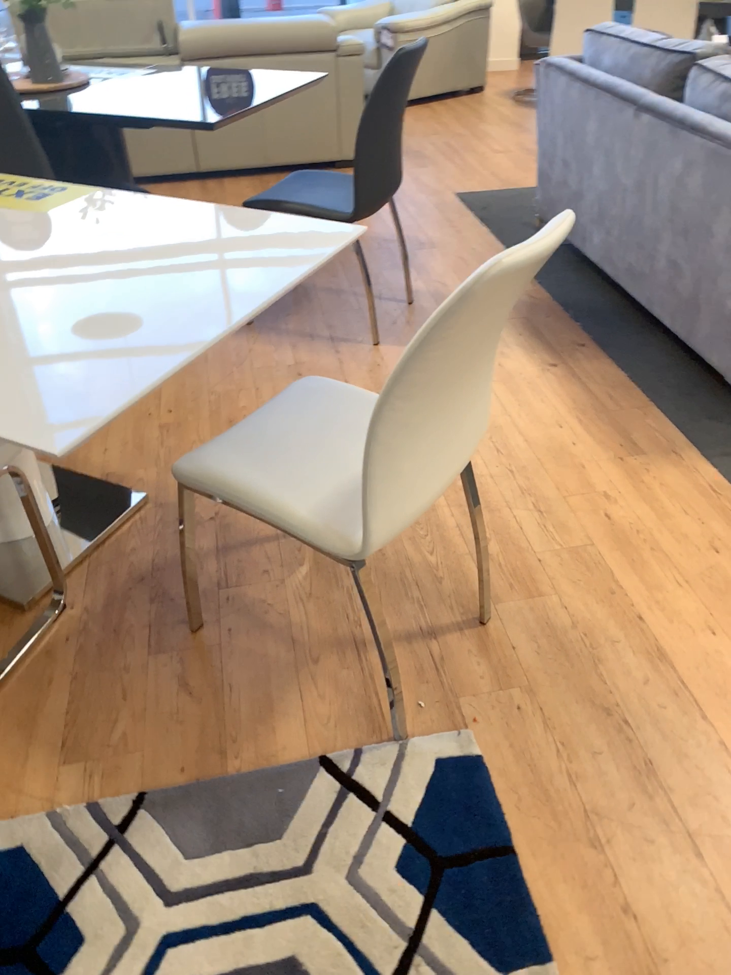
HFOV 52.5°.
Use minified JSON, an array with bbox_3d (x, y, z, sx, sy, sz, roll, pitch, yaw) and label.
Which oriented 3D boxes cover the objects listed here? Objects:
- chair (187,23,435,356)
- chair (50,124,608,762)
[{"bbox_3d":[-0.136,-0.985,2.438,0.550,0.863,0.519,15,41,21],"label":"chair"},{"bbox_3d":[-0.032,-0.101,1.340,0.630,0.863,0.519,21,43,26],"label":"chair"}]
